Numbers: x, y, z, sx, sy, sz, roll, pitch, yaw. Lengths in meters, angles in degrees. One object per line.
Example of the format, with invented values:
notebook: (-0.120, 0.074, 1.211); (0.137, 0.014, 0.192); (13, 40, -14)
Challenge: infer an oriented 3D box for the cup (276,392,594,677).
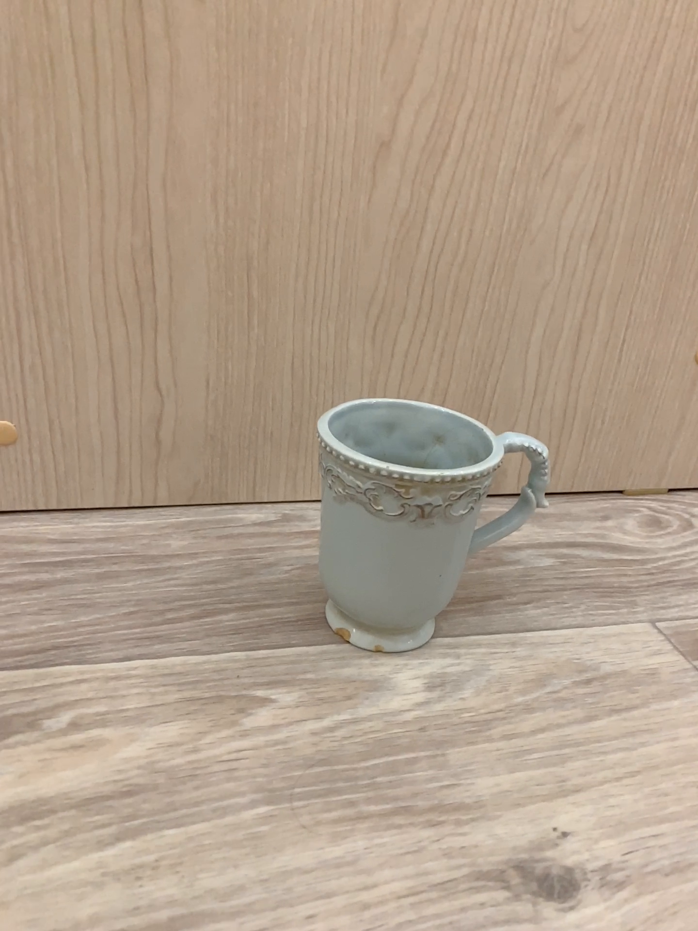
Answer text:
cup: (0.035, 0.027, 0.357); (0.118, 0.102, 0.083); (-3, 26, -21)
